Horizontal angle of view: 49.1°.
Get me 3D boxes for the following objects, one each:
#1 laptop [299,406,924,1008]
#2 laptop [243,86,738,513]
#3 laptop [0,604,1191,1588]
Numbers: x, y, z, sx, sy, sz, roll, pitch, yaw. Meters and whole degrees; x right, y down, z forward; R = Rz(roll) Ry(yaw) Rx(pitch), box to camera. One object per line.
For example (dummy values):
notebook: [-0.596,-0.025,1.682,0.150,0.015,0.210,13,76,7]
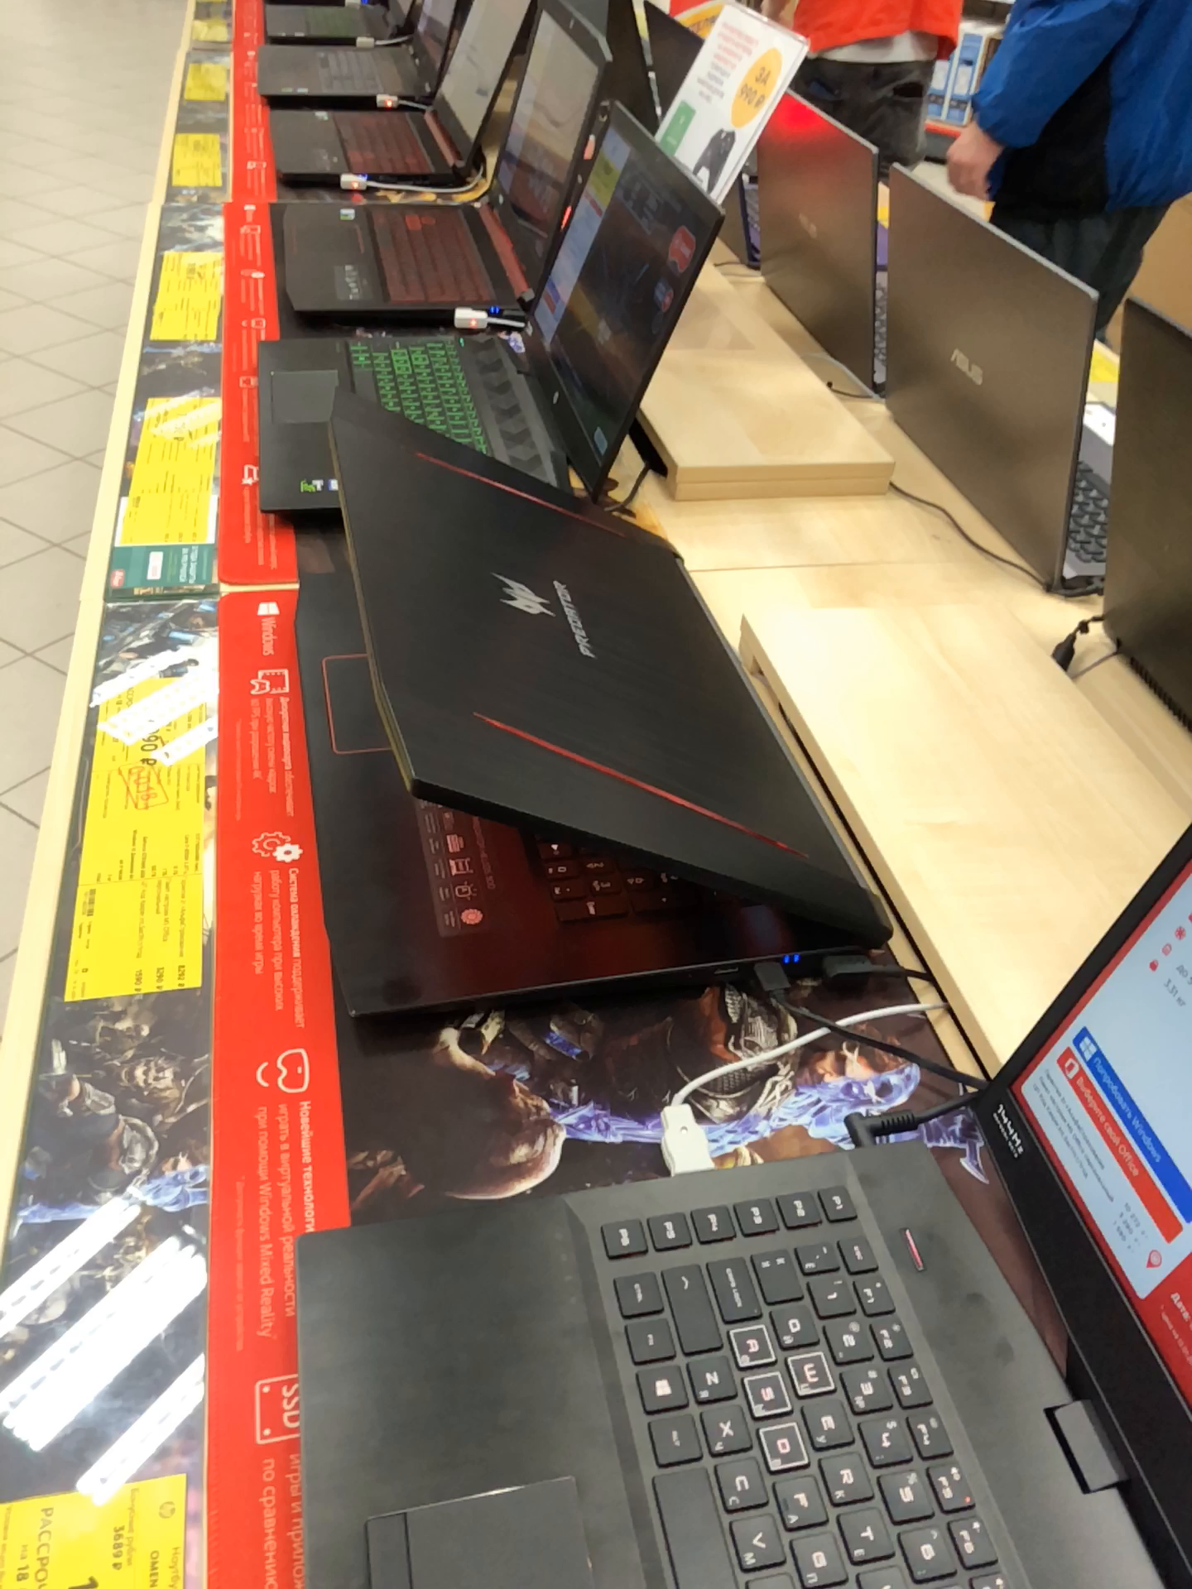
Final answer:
laptop: [-0.029,-0.087,0.769,0.261,0.124,0.421,-5,38,-12]
laptop: [-0.114,-0.435,1.120,0.342,0.230,0.352,-4,40,-11]
laptop: [0.104,0.177,0.323,0.355,0.250,0.379,-5,38,-10]
